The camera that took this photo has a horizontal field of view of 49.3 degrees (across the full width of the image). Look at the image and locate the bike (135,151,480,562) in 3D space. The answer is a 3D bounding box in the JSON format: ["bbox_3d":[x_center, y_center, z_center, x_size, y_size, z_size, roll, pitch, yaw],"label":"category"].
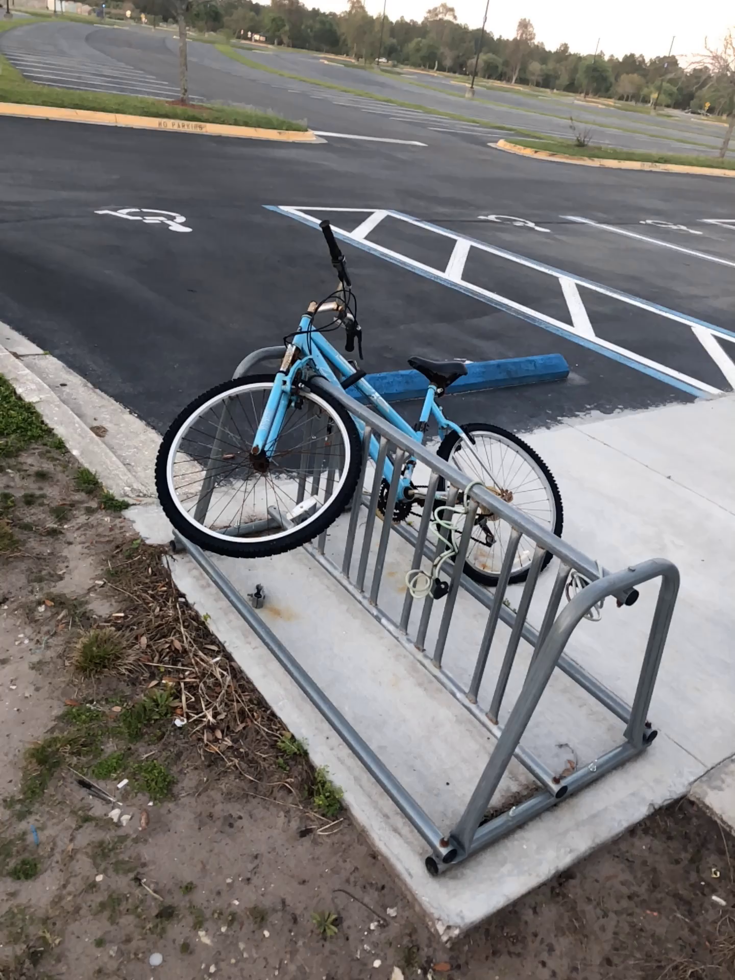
[{"bbox_3d":[-0.284,-0.418,2.734,0.937,1.127,0.551,3,28,-16],"label":"bike"}]
